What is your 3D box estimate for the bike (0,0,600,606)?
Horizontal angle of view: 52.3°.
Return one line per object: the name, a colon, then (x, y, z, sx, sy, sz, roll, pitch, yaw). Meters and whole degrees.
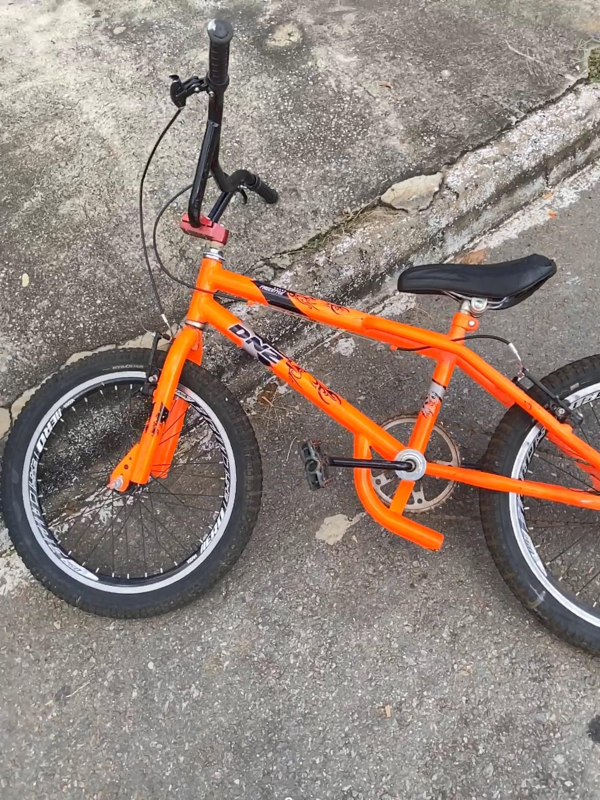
bike: (0.178, -0.238, 1.068, 1.353, 0.858, 0.748, 5, 56, 11)
